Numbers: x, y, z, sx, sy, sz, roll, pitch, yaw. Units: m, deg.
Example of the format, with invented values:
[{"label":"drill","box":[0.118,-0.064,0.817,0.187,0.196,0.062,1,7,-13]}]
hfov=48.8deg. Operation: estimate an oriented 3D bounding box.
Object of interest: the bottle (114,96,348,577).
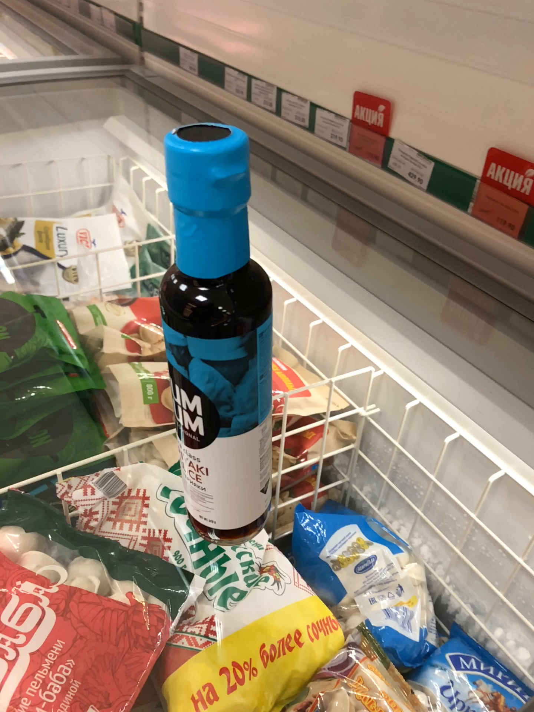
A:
[{"label":"bottle","box":[-0.019,0.005,0.276,0.060,0.219,0.060,2,38,-2]}]
